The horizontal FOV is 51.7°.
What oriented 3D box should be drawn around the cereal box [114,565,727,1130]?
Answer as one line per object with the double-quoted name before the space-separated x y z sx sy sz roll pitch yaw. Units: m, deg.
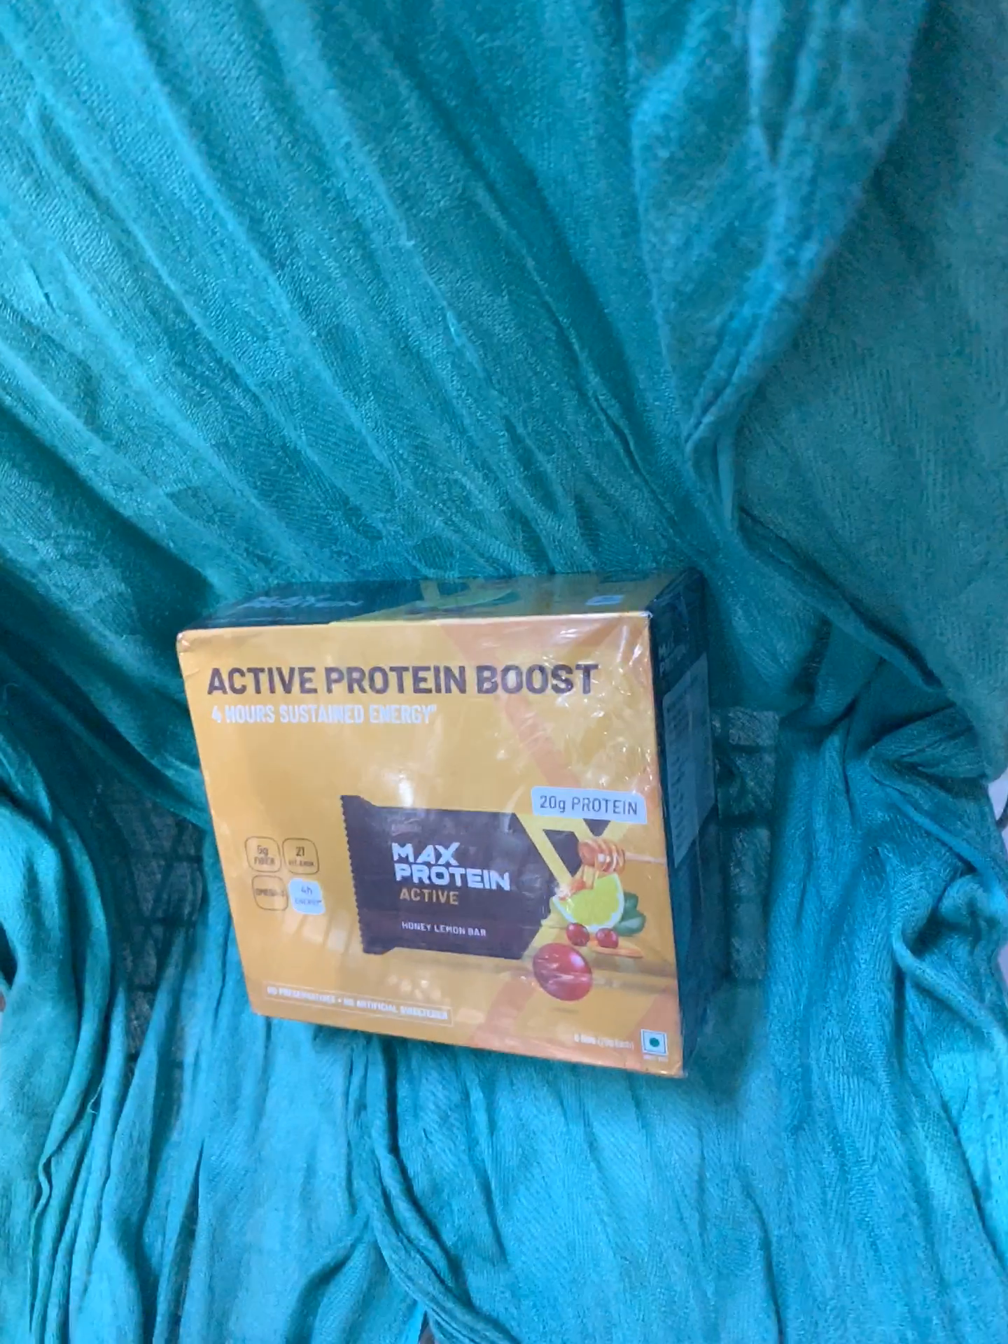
"cereal box" -0.022 0.045 0.331 0.160 0.080 0.140 -1 103 24
